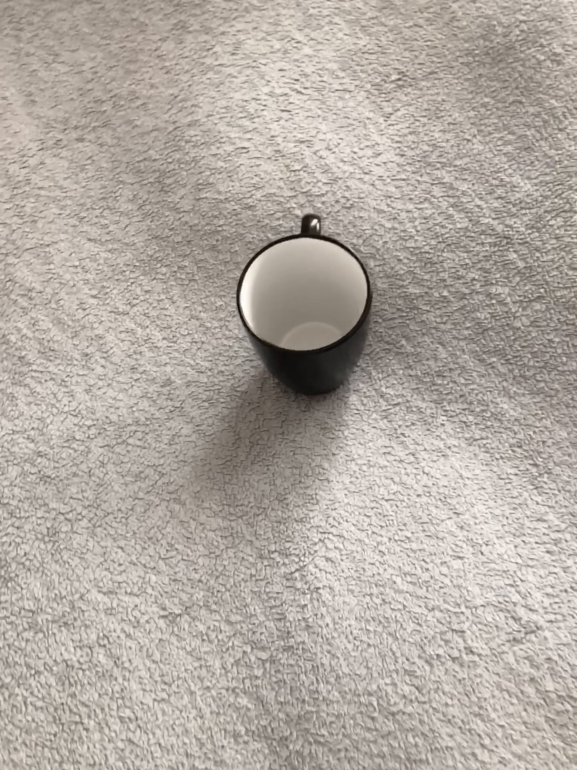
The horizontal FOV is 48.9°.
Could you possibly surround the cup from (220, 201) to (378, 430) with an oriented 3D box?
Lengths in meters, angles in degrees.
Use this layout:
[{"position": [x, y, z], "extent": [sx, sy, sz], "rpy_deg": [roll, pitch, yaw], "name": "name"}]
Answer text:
[{"position": [0.015, -0.045, 0.442], "extent": [0.090, 0.090, 0.128], "rpy_deg": [0, 66, 10], "name": "cup"}]
